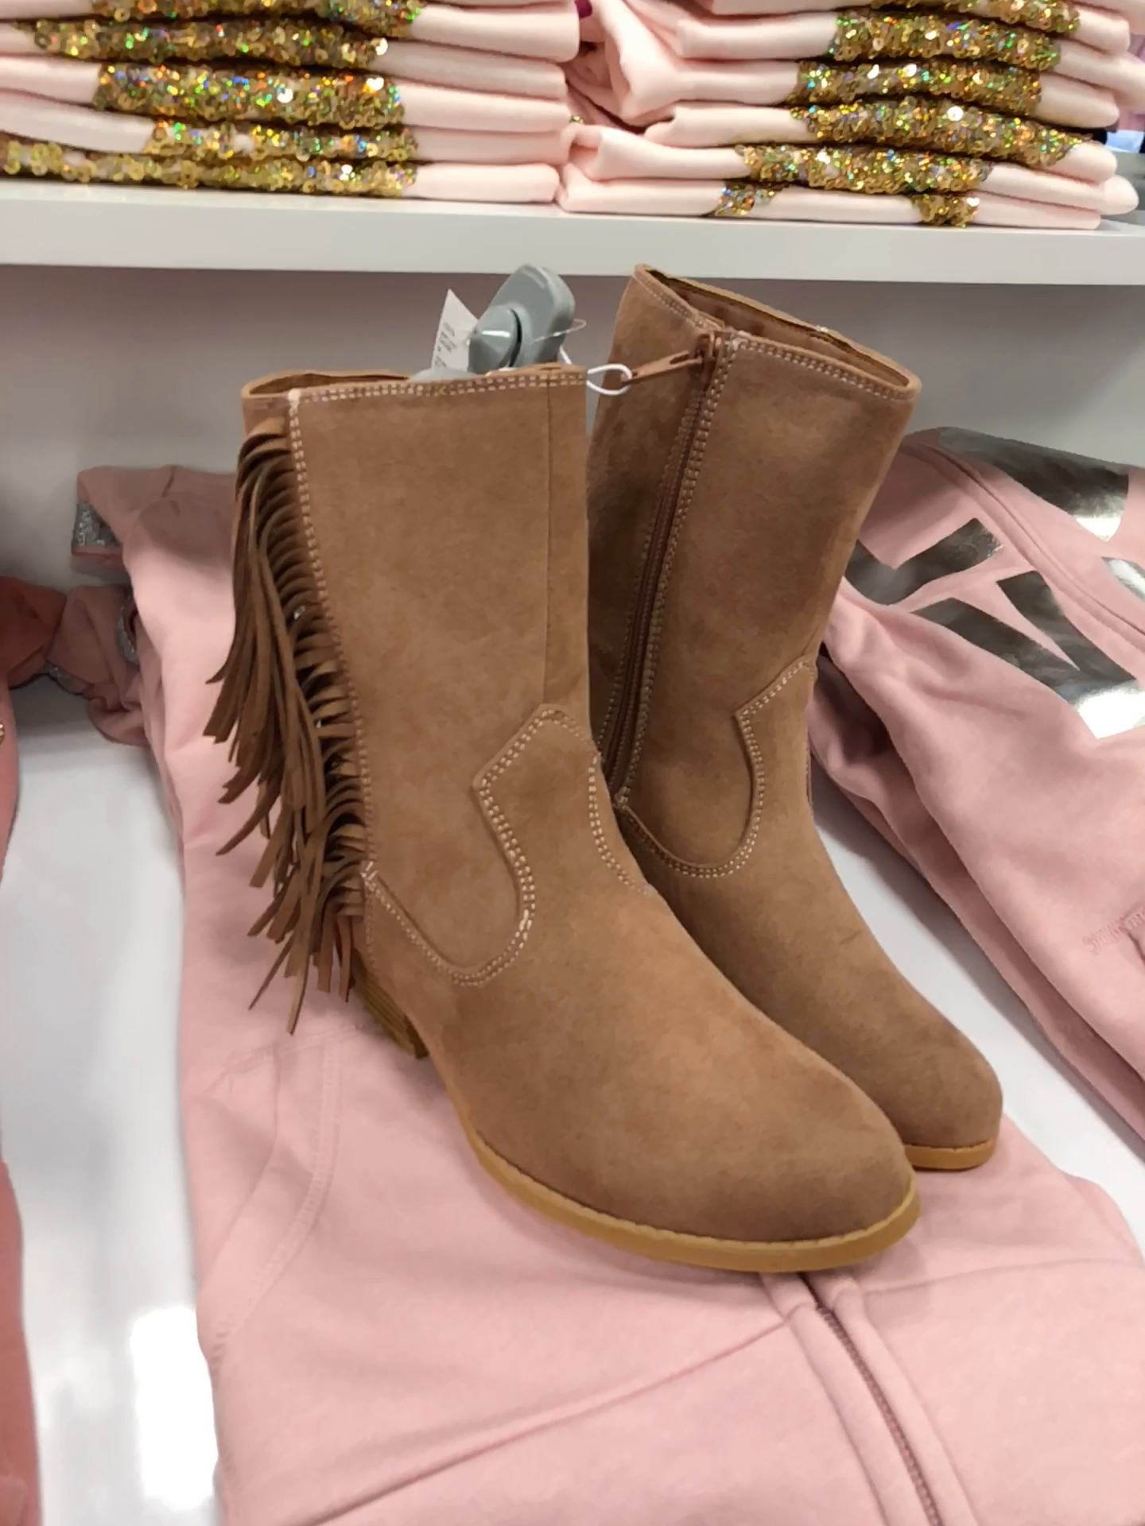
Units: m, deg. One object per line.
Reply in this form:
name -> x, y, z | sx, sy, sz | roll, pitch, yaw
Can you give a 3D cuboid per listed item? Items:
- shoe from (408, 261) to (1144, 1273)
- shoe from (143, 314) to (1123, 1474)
shoe -> 0.054, -0.013, 0.364 | 0.092, 0.199, 0.210 | -22, 42, -37
shoe -> -0.004, 0.011, 0.312 | 0.092, 0.199, 0.200 | -22, 36, -37
